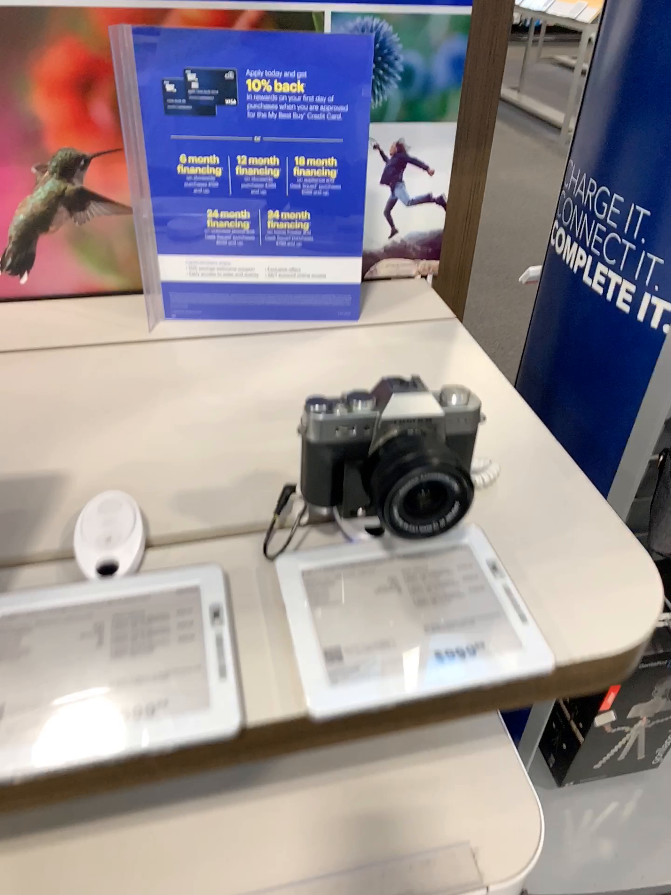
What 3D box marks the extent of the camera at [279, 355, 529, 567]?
[{"bbox_3d":[0.036,0.005,0.440,0.130,0.079,0.101,-6,38,-10],"label":"camera"}]
